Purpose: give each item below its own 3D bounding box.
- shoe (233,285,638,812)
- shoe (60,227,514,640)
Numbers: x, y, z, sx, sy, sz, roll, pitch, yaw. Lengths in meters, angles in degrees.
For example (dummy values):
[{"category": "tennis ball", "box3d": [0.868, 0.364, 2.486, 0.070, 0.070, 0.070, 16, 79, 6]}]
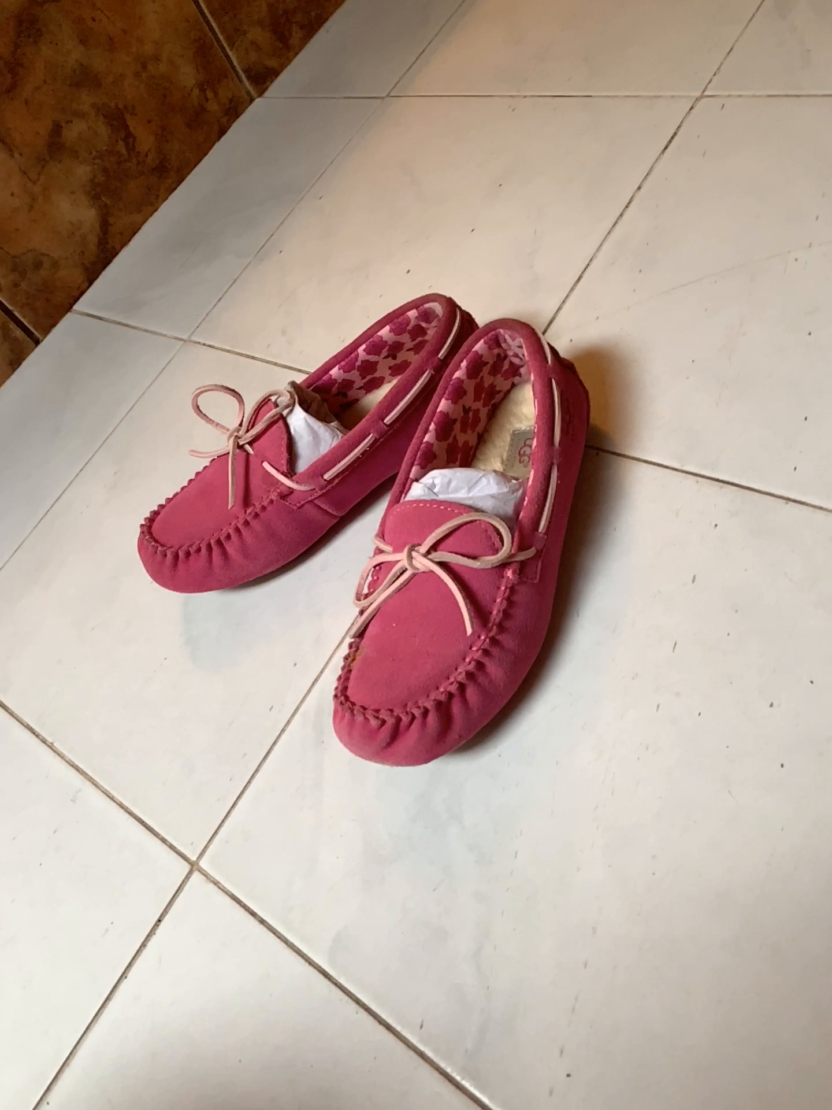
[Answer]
[{"category": "shoe", "box3d": [0.021, -0.013, 0.402, 0.090, 0.083, 0.227, 10, 64, 31]}, {"category": "shoe", "box3d": [-0.072, -0.068, 0.480, 0.227, 0.083, 0.090, -36, 50, 1]}]
